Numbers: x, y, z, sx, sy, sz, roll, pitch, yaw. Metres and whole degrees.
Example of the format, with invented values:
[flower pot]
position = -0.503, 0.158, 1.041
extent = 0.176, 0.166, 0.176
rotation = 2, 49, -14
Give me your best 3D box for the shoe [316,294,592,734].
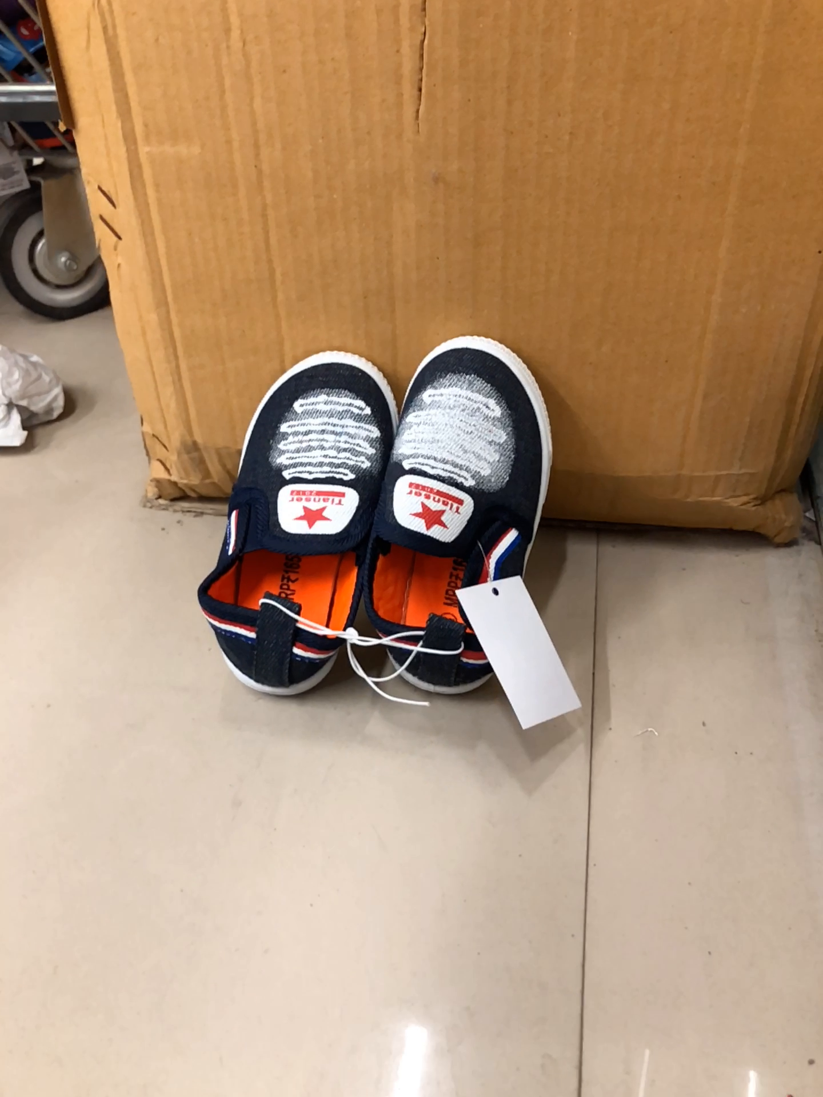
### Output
[shoe]
position = 0.022, -0.015, 0.390
extent = 0.080, 0.160, 0.080
rotation = 9, 2, 16
